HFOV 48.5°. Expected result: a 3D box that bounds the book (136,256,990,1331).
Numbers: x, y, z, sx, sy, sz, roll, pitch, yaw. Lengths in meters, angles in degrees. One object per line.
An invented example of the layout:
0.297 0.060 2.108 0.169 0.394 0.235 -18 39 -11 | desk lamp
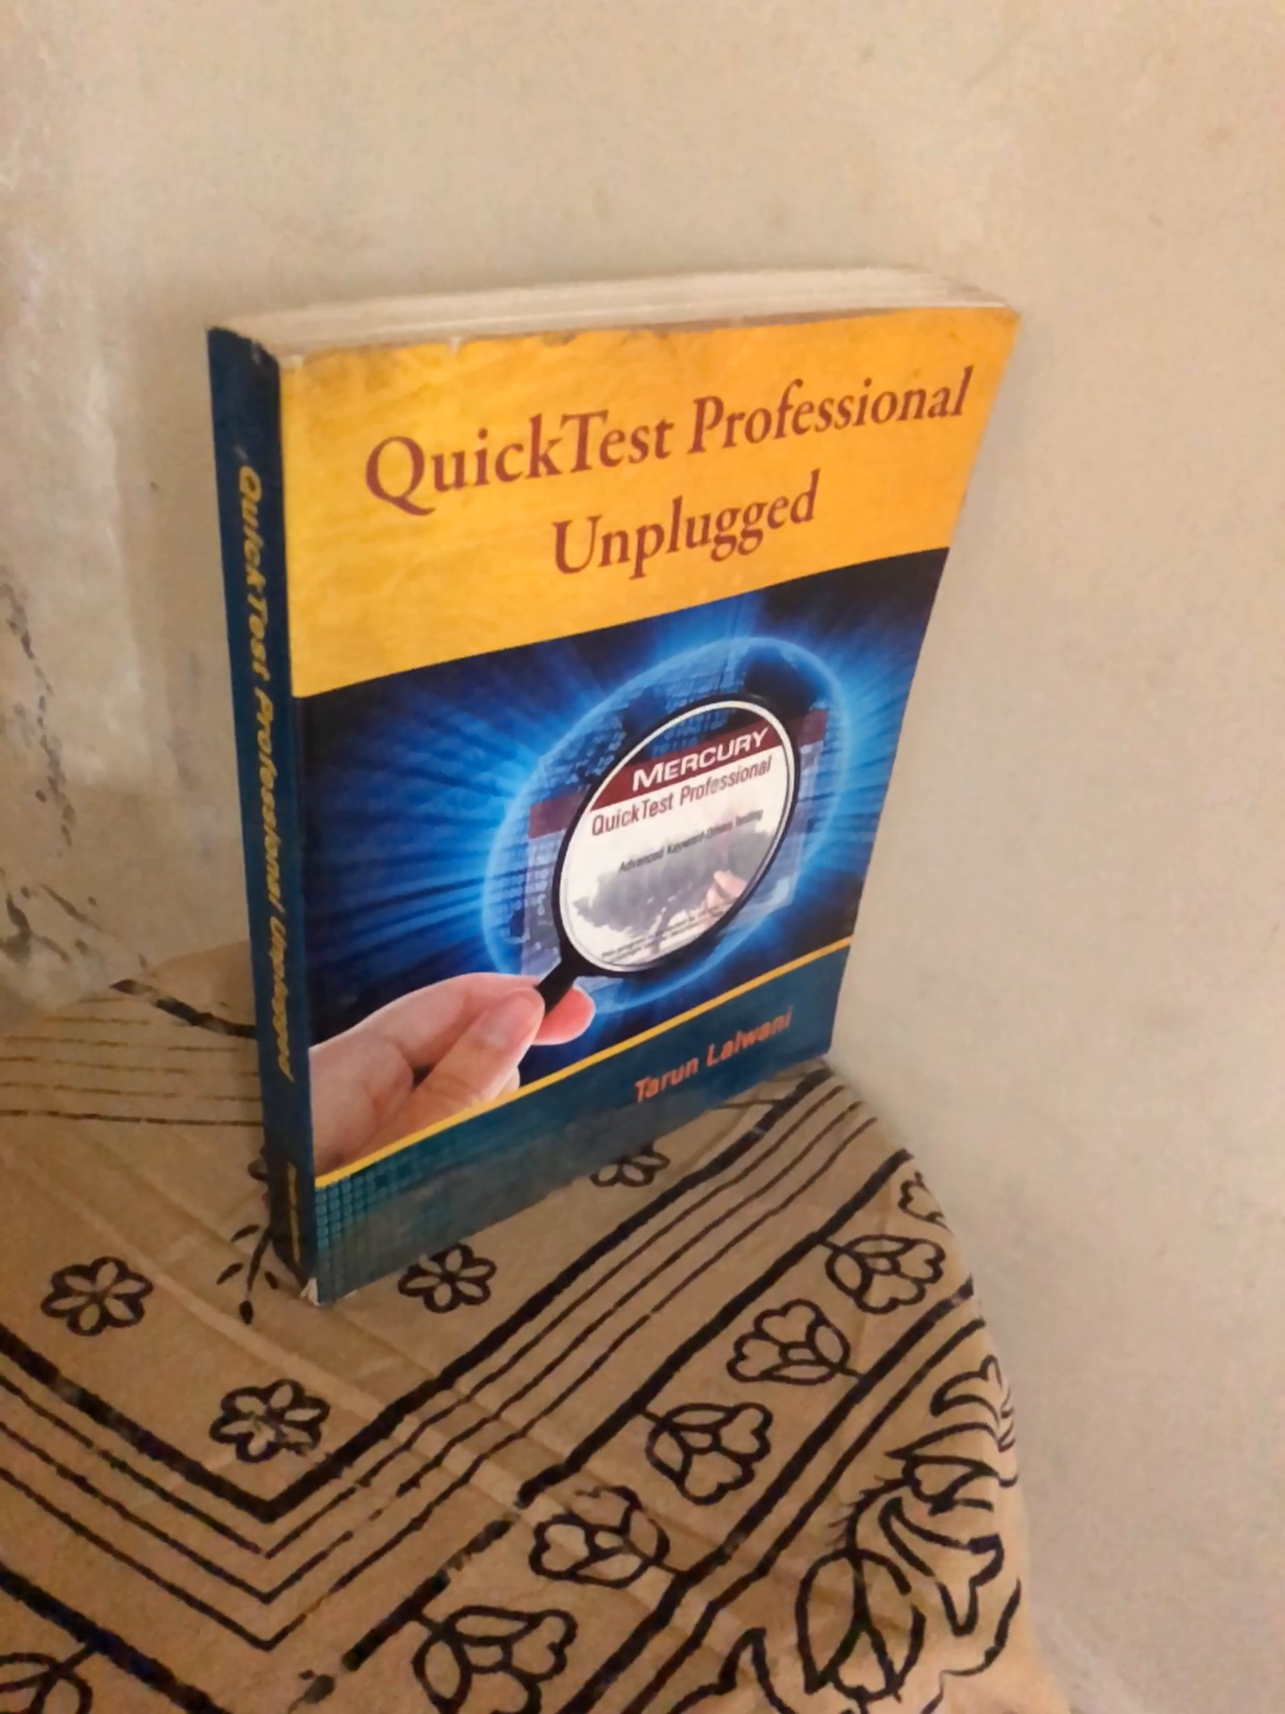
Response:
-0.020 -0.021 0.402 0.211 0.269 0.050 -17 38 -35 | book
